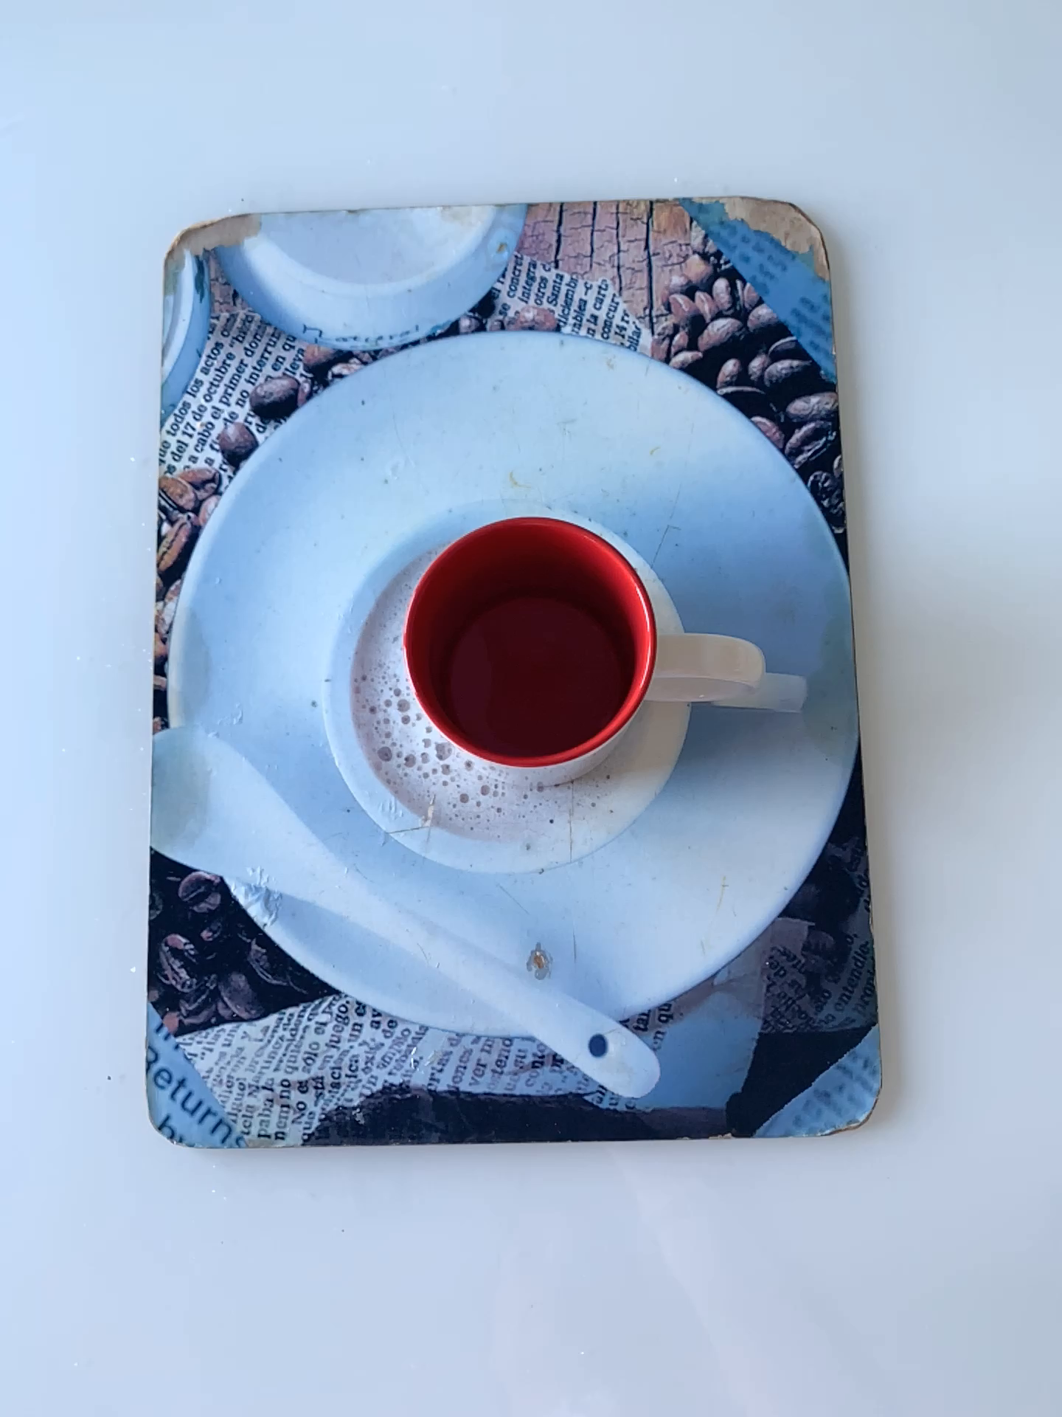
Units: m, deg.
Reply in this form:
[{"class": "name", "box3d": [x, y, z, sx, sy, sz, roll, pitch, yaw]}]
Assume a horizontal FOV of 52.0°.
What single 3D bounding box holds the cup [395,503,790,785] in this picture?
[{"class": "cup", "box3d": [0.020, -0.016, 0.384, 0.117, 0.115, 0.077, 1, 82, 2]}]
